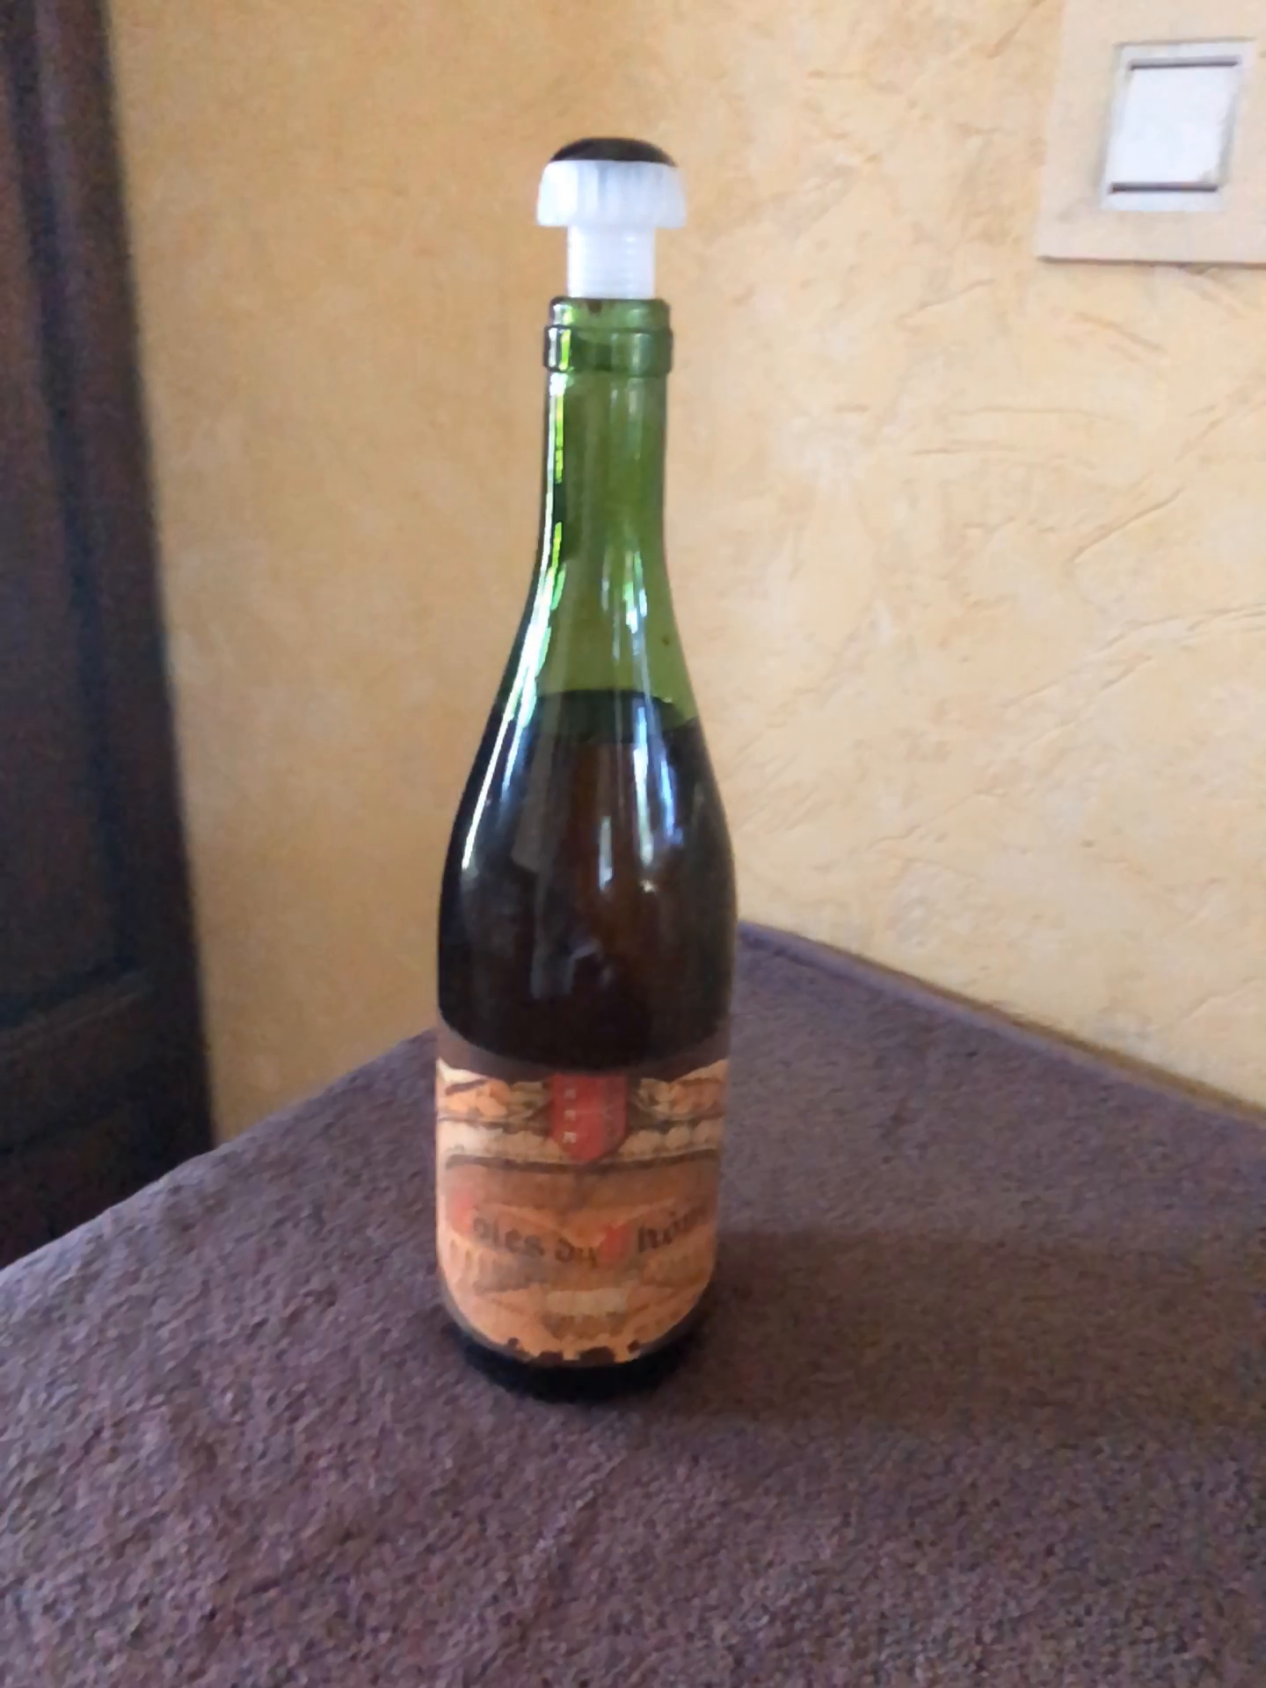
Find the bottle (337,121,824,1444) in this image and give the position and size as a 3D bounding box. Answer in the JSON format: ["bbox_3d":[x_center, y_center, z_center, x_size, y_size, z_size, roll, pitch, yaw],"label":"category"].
[{"bbox_3d":[-0.009,-0.006,0.358,0.090,0.308,0.091,2,21,-1],"label":"bottle"}]
